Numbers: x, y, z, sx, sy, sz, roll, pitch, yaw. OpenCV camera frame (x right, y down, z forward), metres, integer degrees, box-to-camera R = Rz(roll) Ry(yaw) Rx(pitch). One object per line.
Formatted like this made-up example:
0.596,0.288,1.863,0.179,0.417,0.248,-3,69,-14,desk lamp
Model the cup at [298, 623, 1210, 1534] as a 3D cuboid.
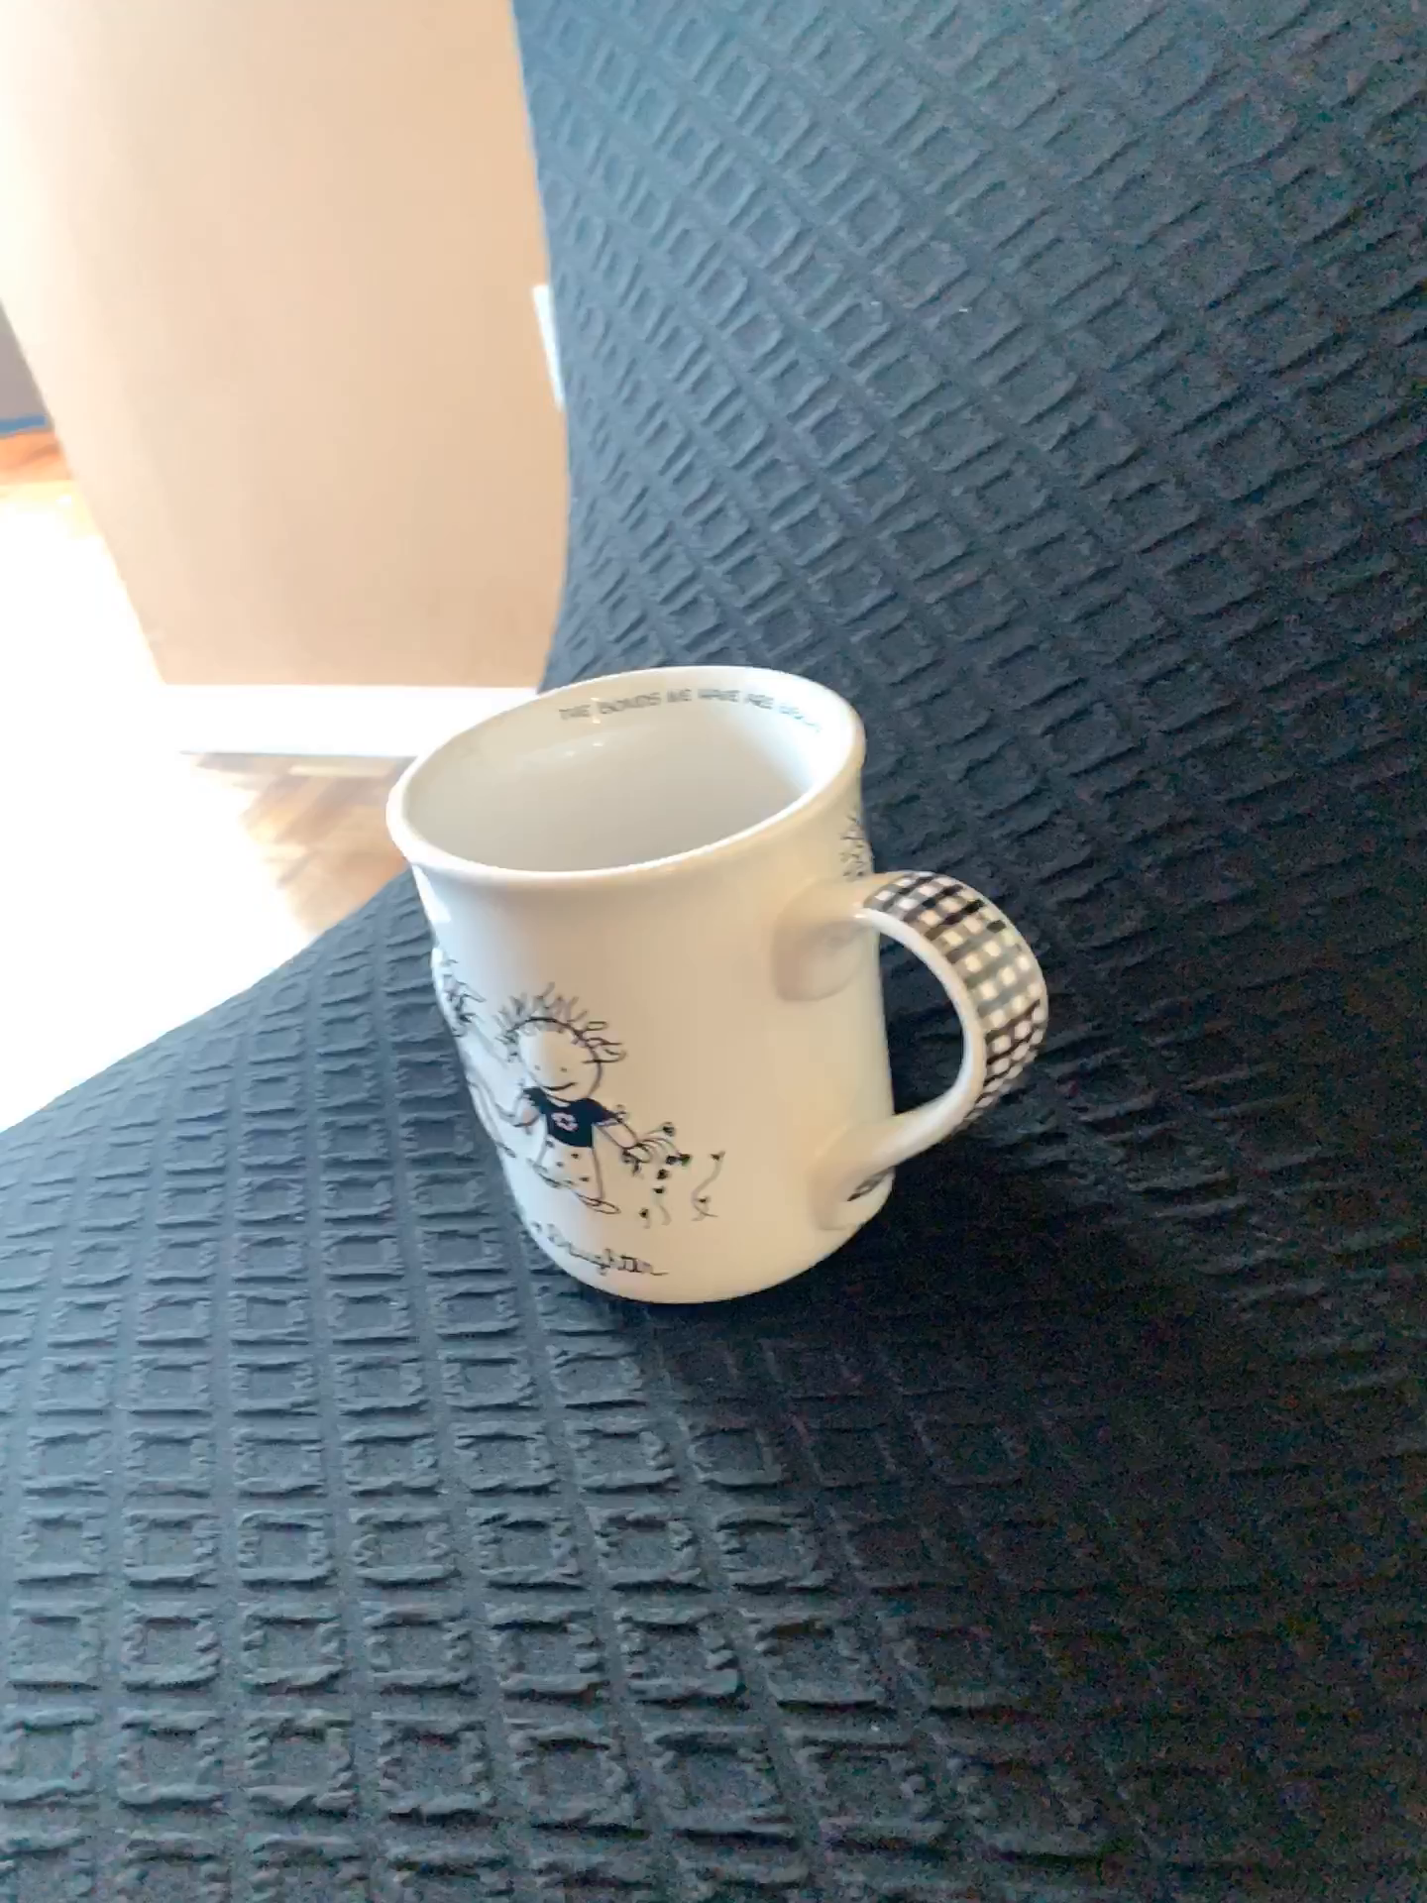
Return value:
0.011,0.013,0.303,0.100,0.109,0.141,-36,39,-31,cup
